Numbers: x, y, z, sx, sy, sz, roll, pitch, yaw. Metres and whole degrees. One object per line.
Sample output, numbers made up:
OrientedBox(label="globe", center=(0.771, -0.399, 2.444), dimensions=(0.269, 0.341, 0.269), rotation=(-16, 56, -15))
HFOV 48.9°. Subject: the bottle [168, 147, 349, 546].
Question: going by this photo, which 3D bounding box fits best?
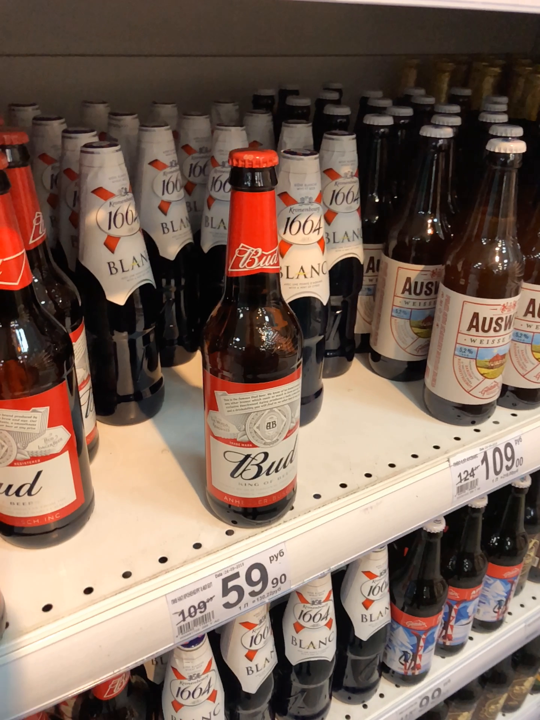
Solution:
OrientedBox(label="bottle", center=(-0.013, -0.002, 0.391), dimensions=(0.080, 0.248, 0.070), rotation=(-10, 32, -21))
